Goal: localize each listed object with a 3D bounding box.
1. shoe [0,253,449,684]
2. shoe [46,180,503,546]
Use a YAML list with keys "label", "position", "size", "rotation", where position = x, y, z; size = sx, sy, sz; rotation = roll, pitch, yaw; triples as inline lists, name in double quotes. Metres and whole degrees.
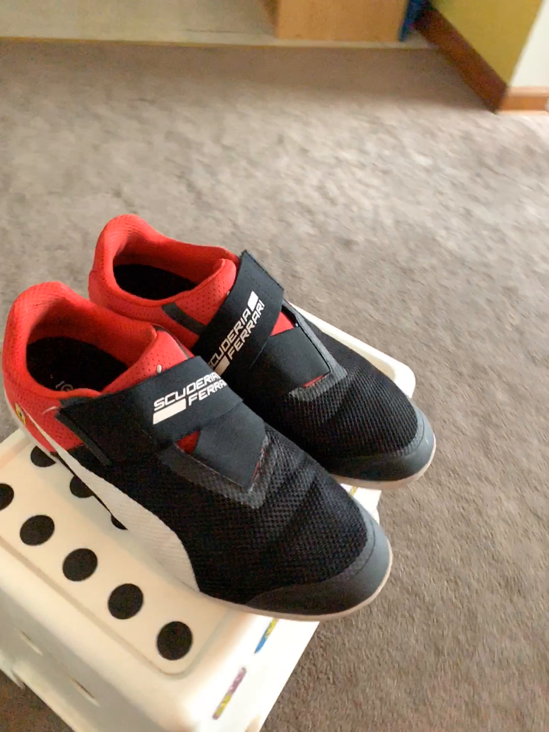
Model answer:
- label: "shoe"
  position: [-0.060, 0.054, 0.367]
  size: [0.300, 0.099, 0.101]
  rotation: [30, 53, 16]
- label: "shoe"
  position: [-0.009, -0.014, 0.422]
  size: [0.300, 0.099, 0.111]
  rotation: [30, 53, 16]
